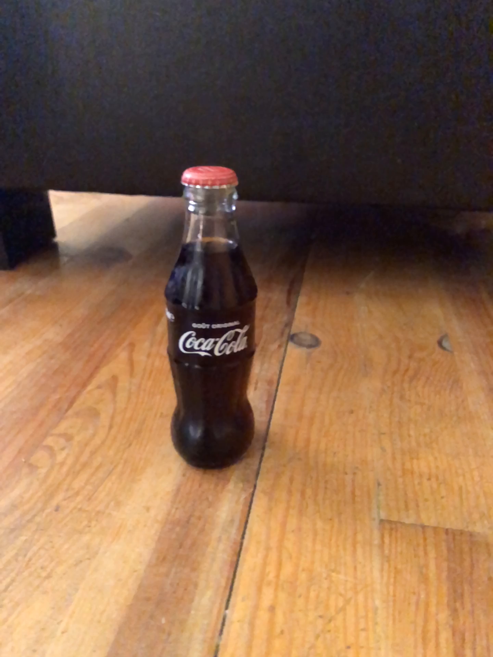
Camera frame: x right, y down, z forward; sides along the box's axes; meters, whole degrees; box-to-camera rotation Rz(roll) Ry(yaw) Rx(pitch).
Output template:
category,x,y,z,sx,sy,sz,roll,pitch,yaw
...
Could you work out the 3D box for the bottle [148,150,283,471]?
category,x,y,z,sx,sy,sz,roll,pitch,yaw
bottle,-0.016,-0.007,0.308,0.060,0.169,0.060,1,26,0
